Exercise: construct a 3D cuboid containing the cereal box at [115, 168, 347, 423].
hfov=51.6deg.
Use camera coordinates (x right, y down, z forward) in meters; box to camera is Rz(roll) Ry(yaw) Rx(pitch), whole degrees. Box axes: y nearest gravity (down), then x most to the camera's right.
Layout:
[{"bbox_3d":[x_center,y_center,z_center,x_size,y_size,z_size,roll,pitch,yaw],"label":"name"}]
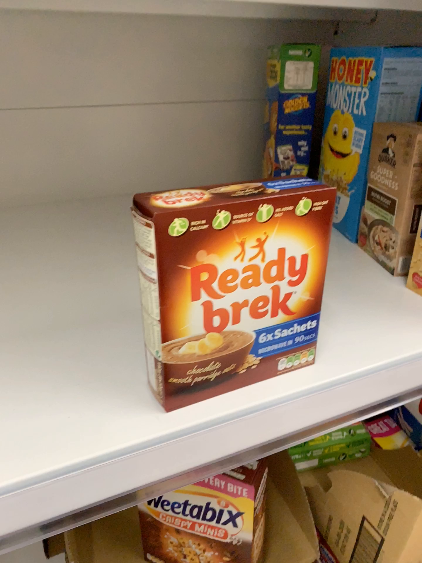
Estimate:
[{"bbox_3d":[0.018,0.007,0.392,0.180,0.188,0.060,-12,29,-23],"label":"cereal box"}]
